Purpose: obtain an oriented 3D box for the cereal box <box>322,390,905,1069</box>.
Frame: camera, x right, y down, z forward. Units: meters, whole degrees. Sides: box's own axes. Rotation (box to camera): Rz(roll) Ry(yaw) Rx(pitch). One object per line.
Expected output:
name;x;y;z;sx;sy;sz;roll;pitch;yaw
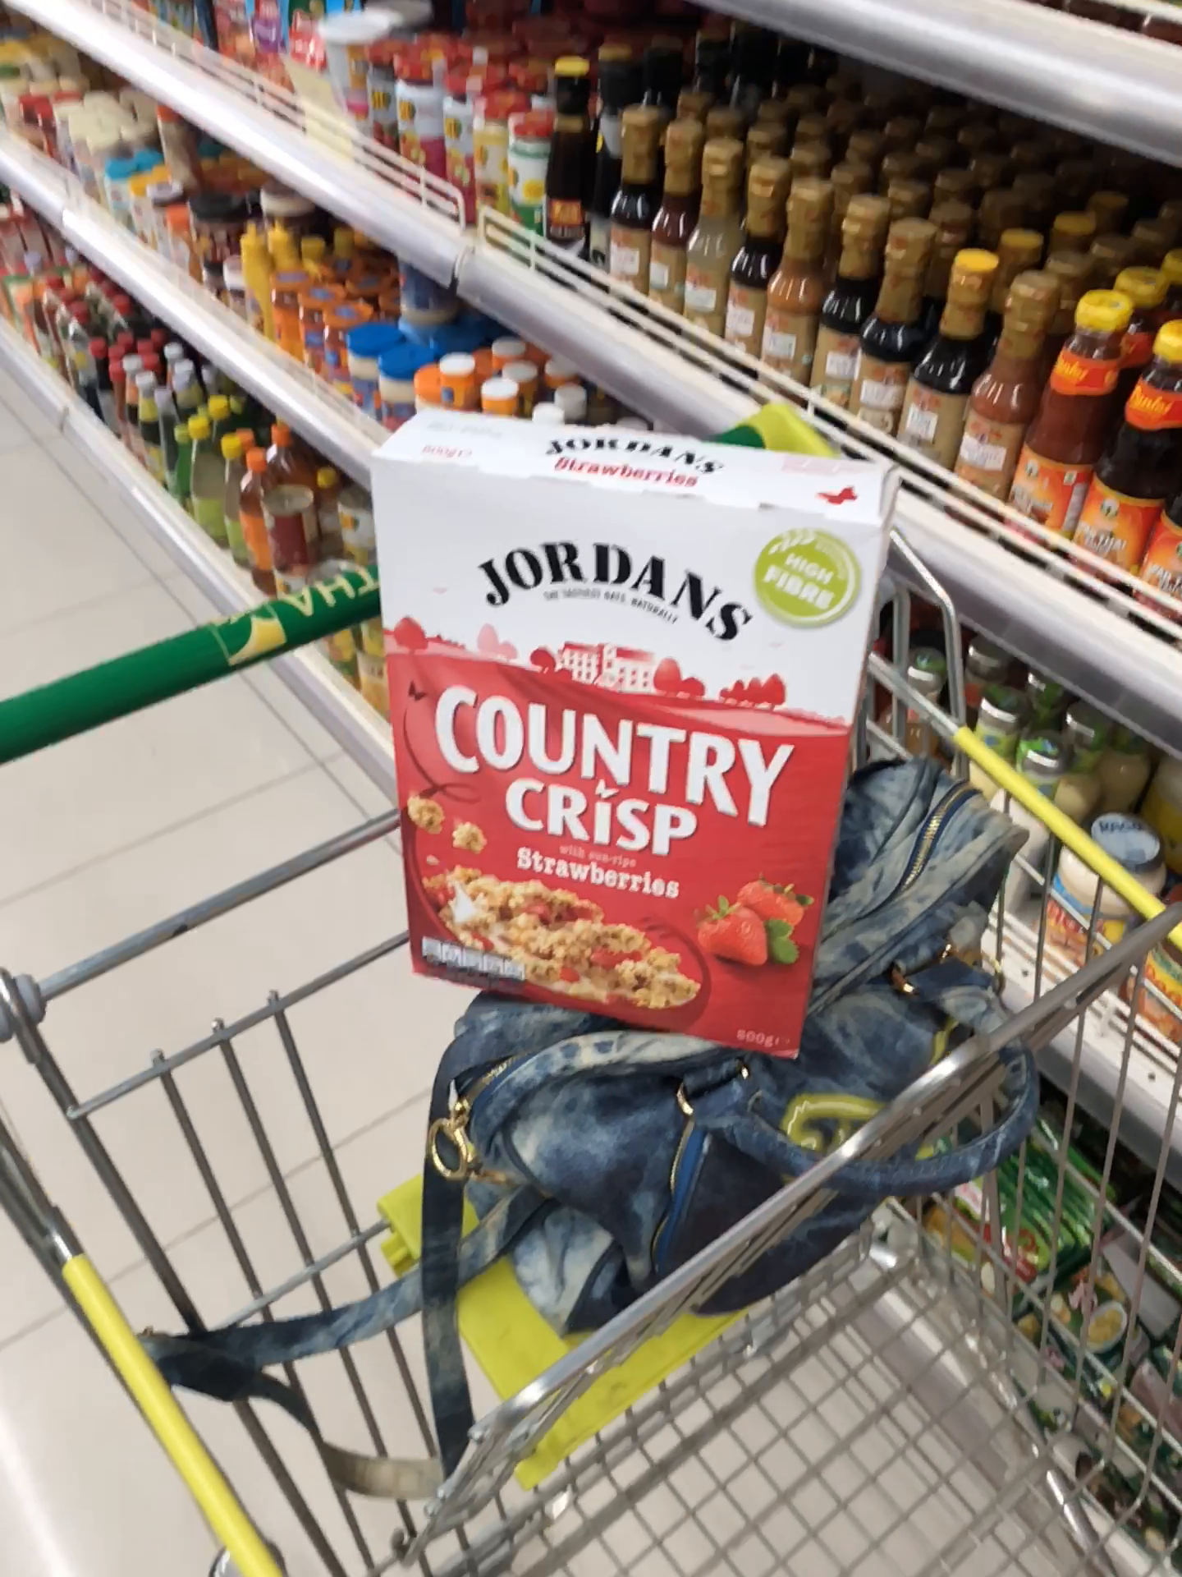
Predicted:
cereal box;0.005;-0.015;0.523;0.190;0.249;0.060;11;38;11
